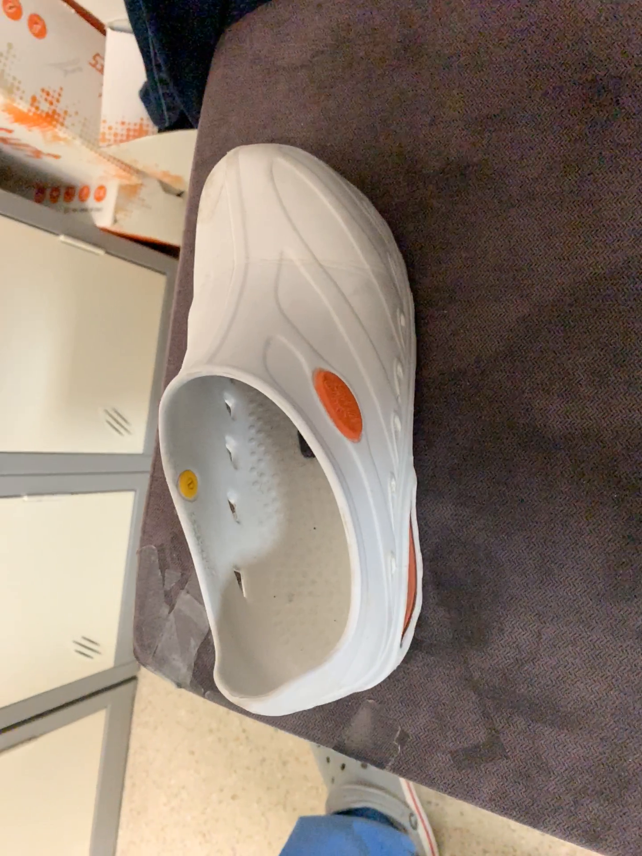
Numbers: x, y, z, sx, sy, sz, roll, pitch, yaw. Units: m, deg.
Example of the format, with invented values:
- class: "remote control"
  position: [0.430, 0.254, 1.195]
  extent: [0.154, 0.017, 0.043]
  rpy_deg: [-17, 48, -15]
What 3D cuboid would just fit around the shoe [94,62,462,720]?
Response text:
- class: "shoe"
  position: [-0.016, -0.009, 0.272]
  extent: [0.092, 0.093, 0.213]
  rpy_deg: [-11, 82, 28]
